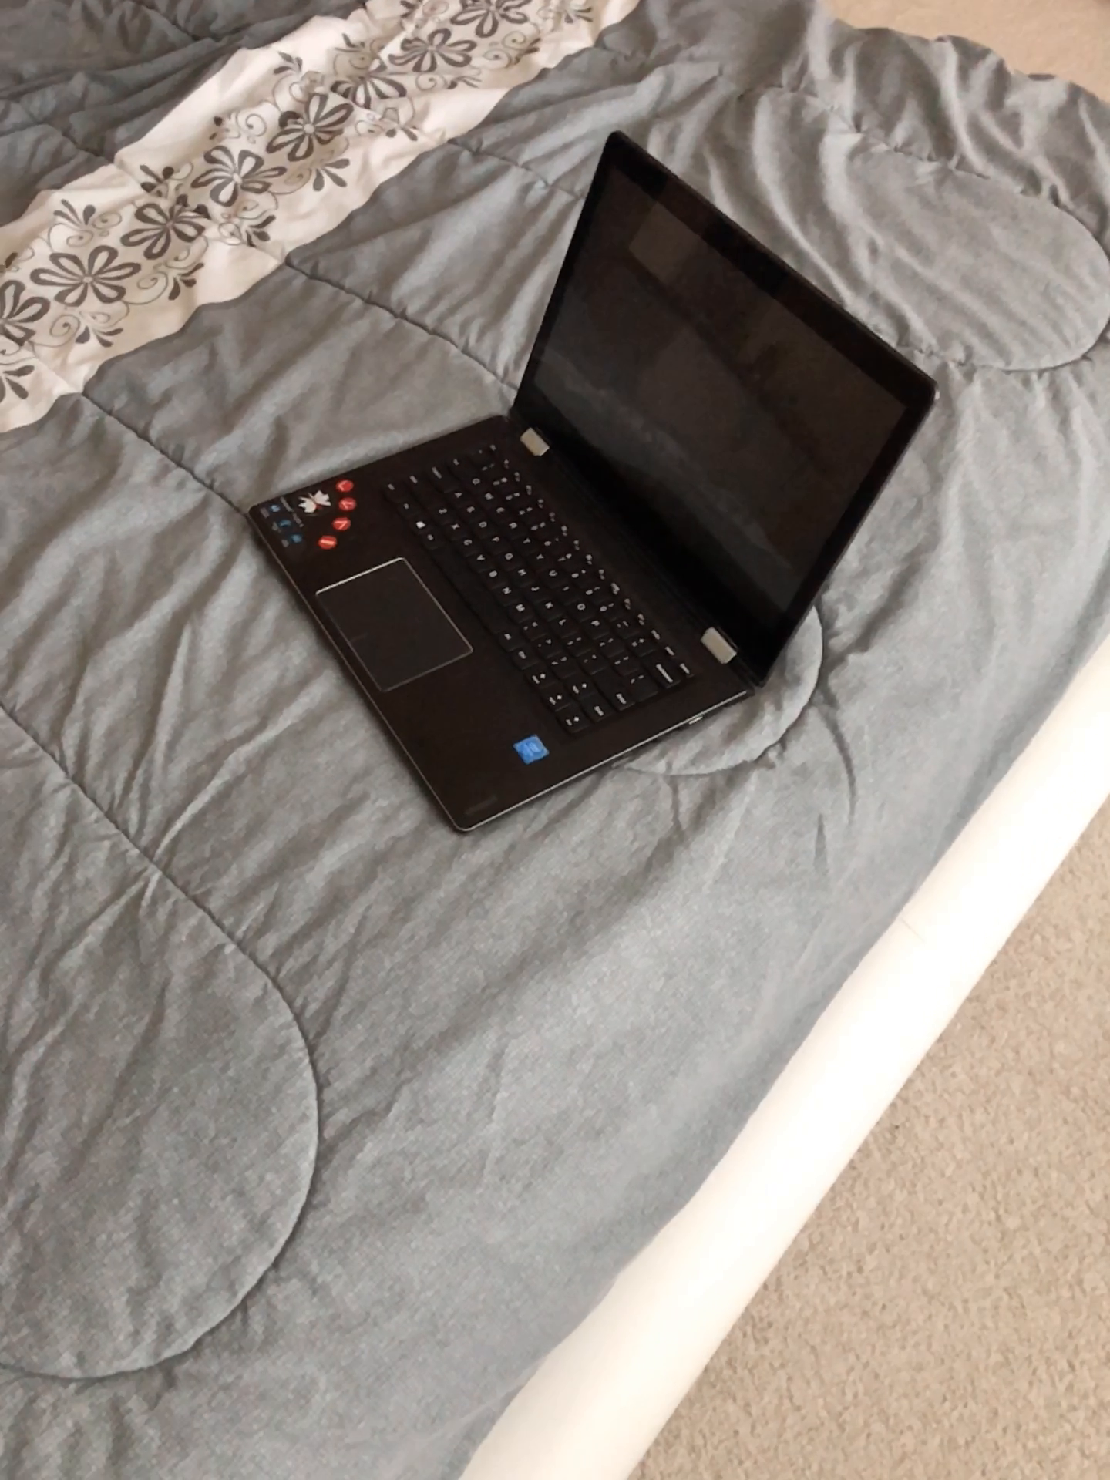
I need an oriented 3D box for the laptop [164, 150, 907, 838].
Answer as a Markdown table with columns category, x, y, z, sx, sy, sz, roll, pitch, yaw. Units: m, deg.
| category | x | y | z | sx | sy | sz | roll | pitch | yaw |
| --- | --- | --- | --- | --- | --- | --- | --- | --- | --- |
| laptop | -0.017 | -0.193 | 0.888 | 0.351 | 0.214 | 0.362 | -27 | 59 | -17 |
